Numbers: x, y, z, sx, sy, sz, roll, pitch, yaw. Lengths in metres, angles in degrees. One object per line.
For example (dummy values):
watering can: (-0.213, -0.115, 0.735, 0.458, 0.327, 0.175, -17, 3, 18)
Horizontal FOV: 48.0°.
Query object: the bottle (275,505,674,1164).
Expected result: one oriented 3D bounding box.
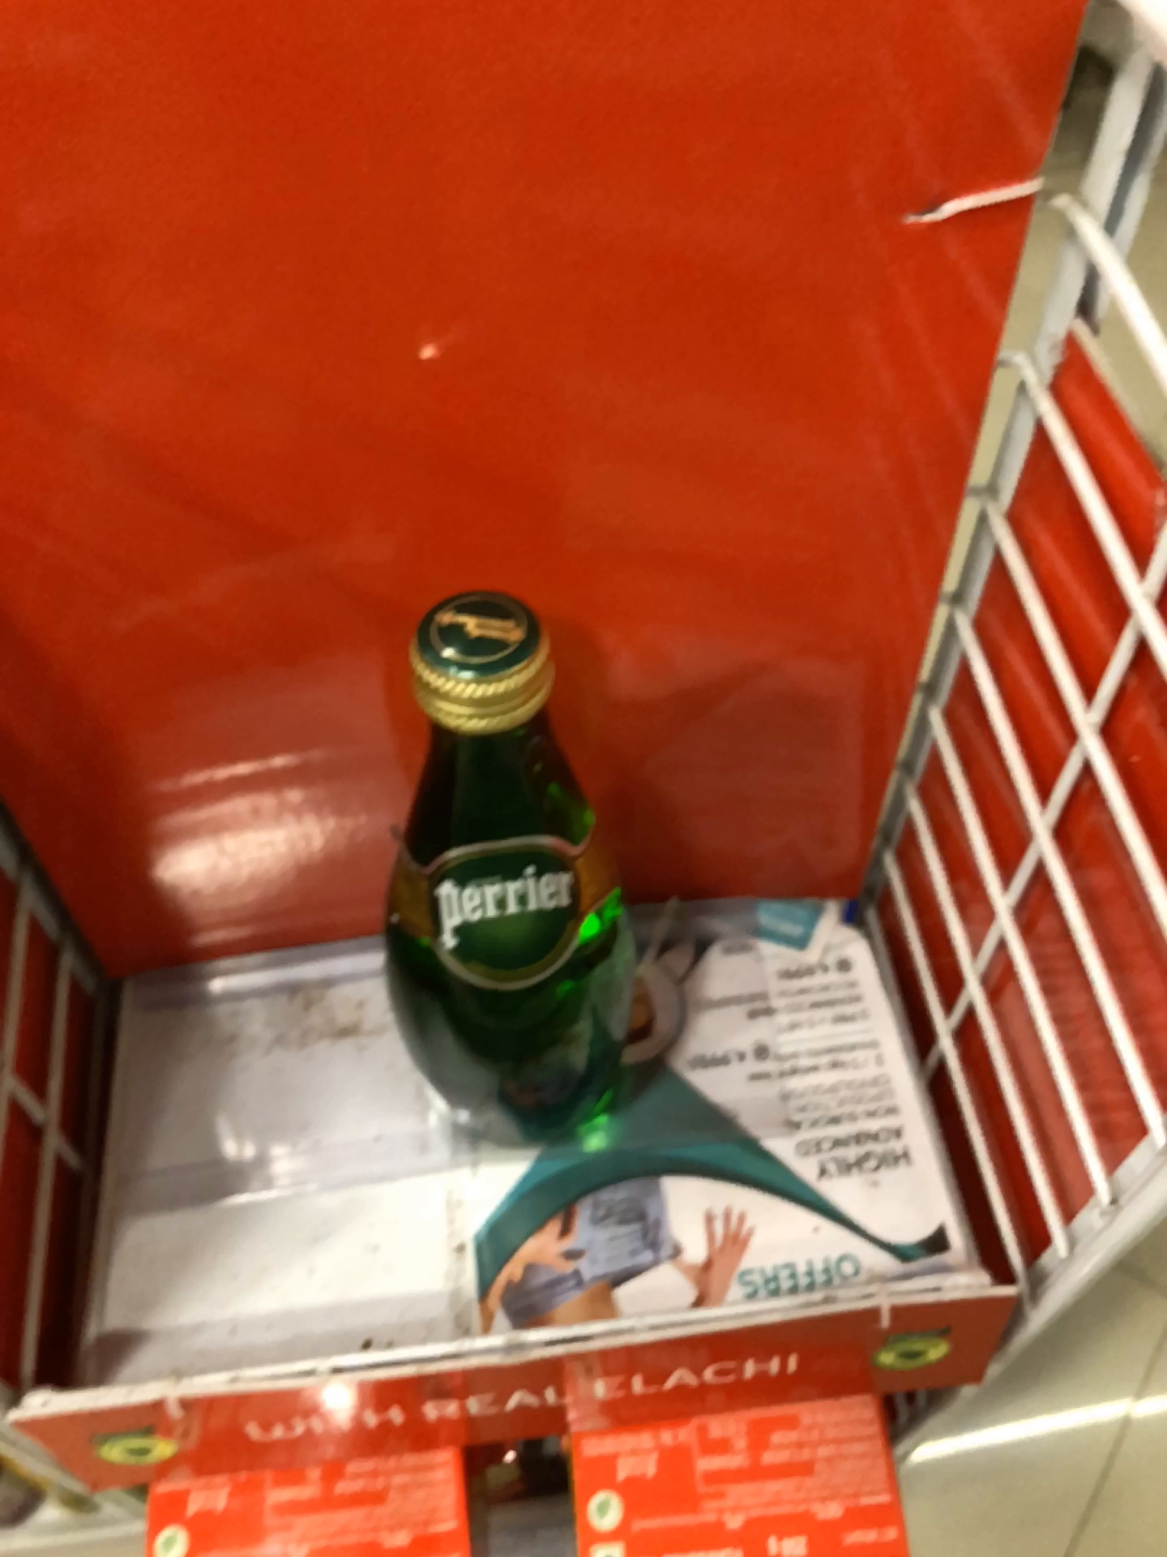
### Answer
bottle: (-0.021, 0.026, 0.318, 0.070, 0.179, 0.060, -7, 53, -4)
